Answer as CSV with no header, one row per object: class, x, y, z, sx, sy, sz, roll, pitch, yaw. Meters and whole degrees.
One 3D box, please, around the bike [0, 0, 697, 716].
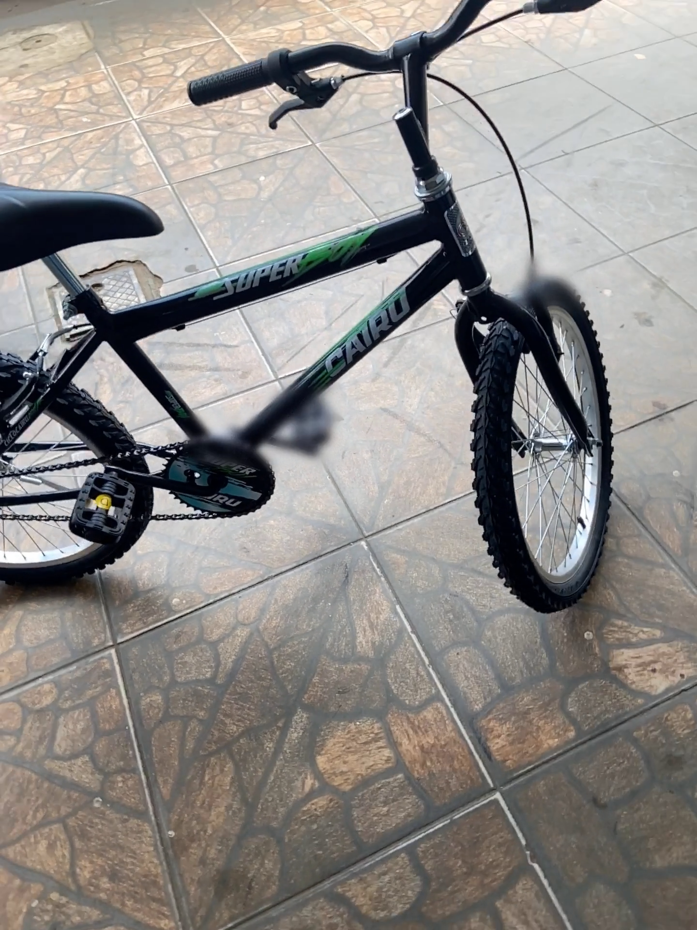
bike,-0.216,-0.209,1.022,1.270,0.935,0.601,-9,54,-5
